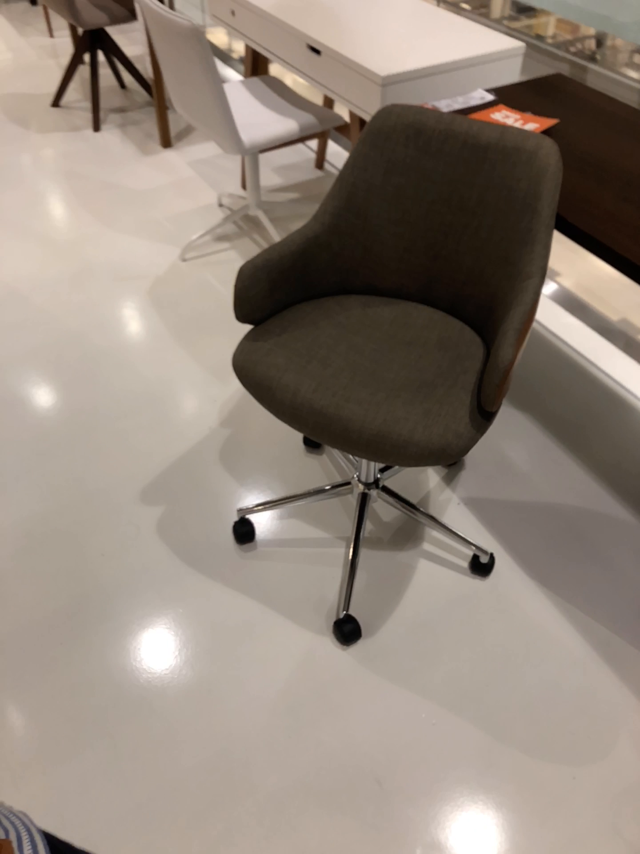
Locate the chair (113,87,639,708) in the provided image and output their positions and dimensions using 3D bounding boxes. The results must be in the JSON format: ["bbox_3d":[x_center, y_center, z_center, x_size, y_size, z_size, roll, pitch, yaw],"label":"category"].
[{"bbox_3d":[0.134,-0.066,1.445,0.611,0.884,0.704,20,48,19],"label":"chair"}]
